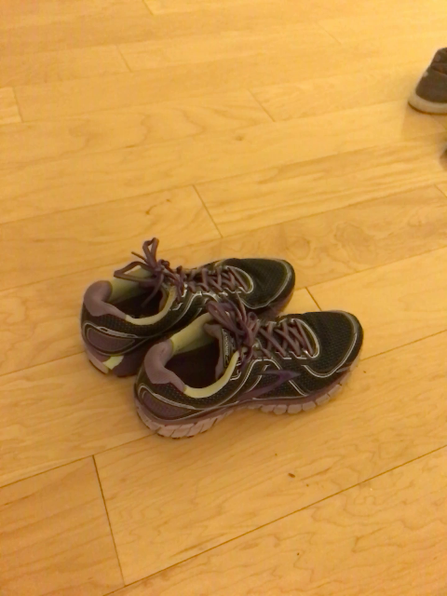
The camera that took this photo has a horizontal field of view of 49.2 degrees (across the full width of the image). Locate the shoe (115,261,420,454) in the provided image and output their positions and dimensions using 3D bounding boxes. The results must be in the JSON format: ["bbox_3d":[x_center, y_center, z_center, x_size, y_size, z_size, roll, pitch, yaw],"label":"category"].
[{"bbox_3d":[0.040,0.056,0.514,0.280,0.079,0.121,-11,53,-13],"label":"shoe"}]

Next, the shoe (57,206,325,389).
[{"bbox_3d":[-0.036,-0.009,0.568,0.271,0.079,0.121,-17,55,-18],"label":"shoe"}]
